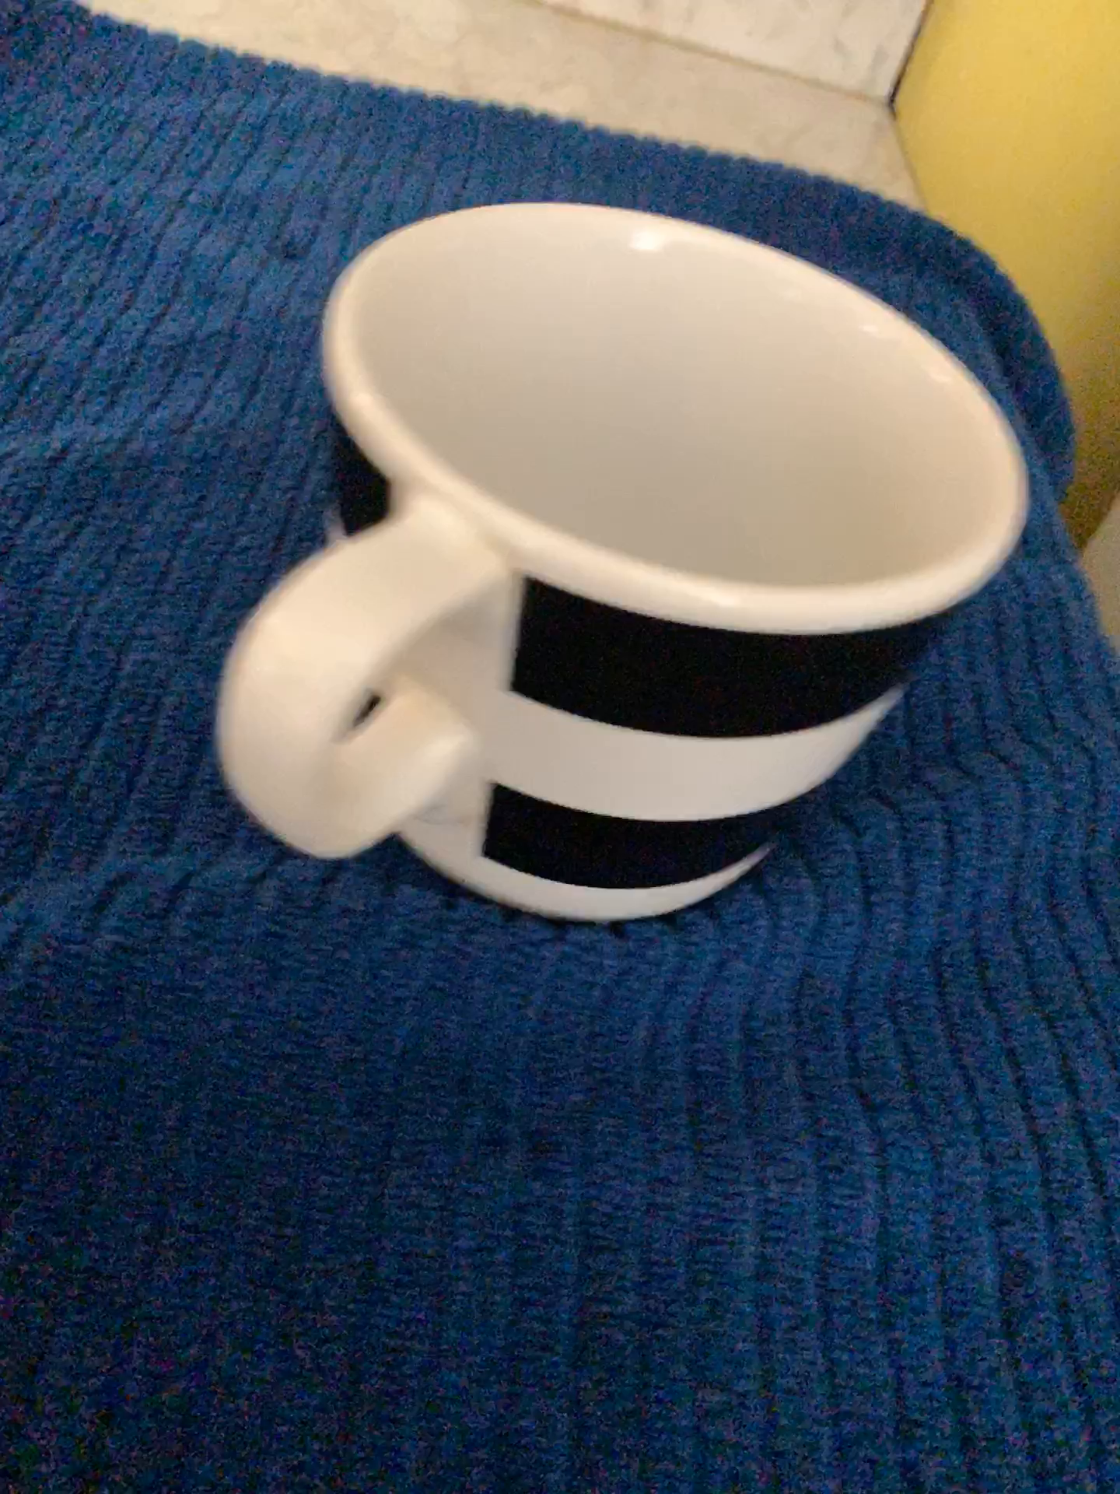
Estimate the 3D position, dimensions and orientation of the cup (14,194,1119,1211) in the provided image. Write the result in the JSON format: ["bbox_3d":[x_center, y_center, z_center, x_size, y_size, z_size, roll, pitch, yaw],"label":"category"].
[{"bbox_3d":[0.007,-0.020,0.158,0.085,0.057,0.113,33,46,18],"label":"cup"}]
